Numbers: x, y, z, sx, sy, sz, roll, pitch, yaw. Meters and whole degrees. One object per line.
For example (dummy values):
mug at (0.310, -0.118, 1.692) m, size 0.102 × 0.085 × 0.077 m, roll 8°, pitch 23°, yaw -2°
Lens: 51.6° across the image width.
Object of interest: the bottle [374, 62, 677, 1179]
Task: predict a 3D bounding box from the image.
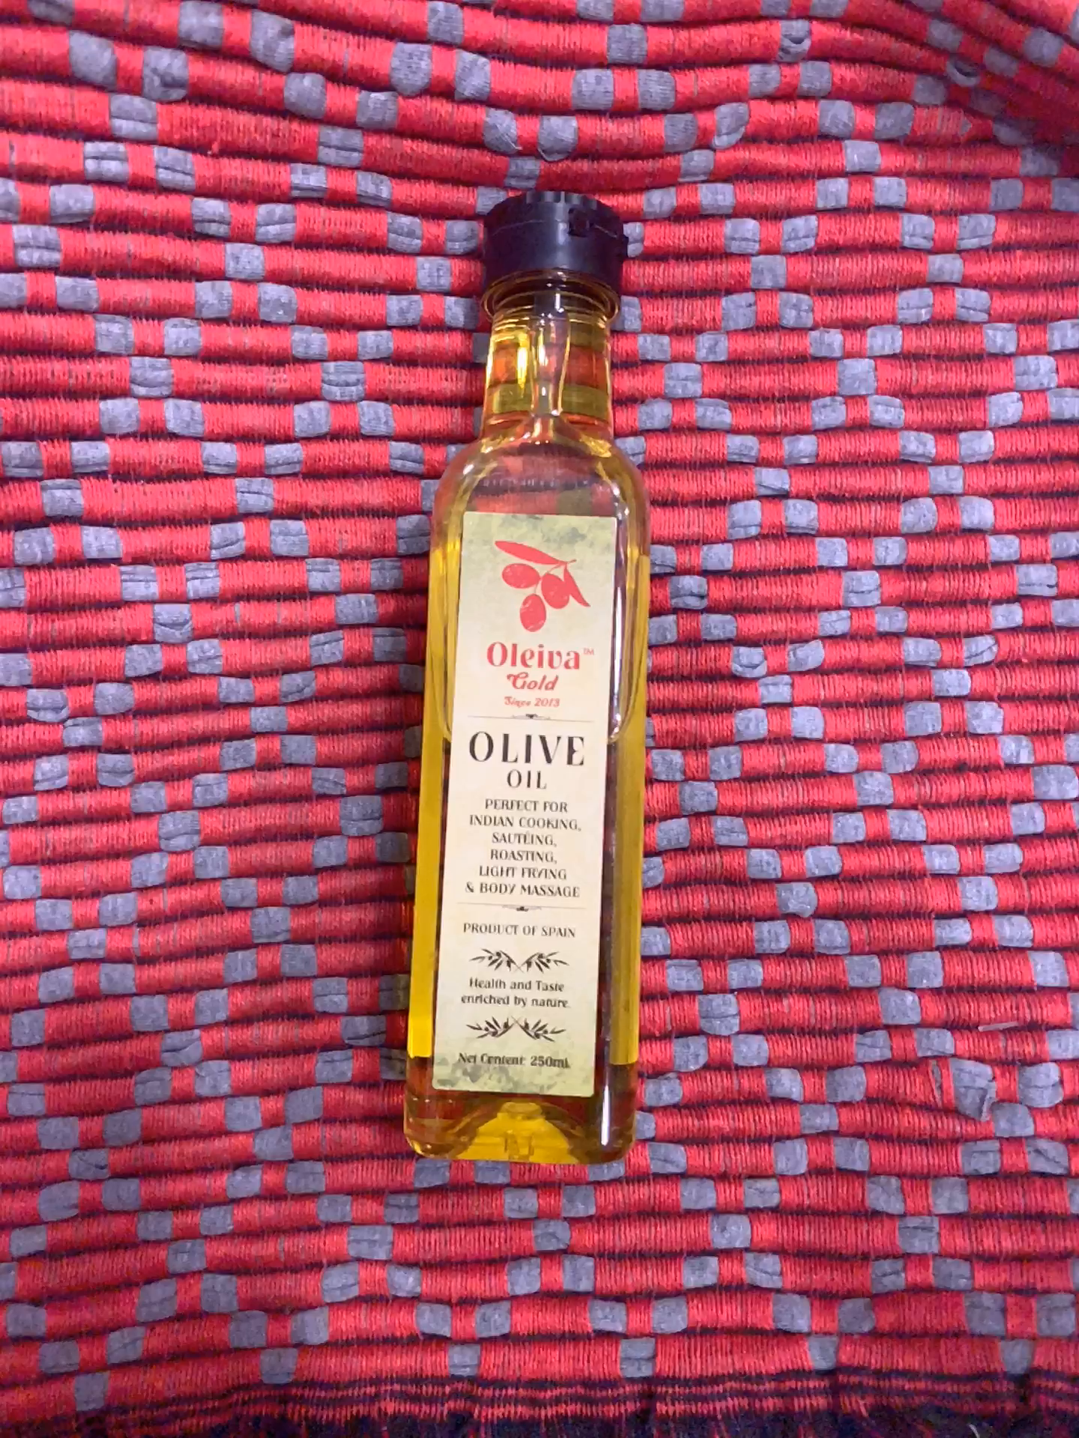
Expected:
bottle at (-0.001, -0.022, 0.232) m, size 0.050 × 0.050 × 0.210 m, roll 1°, pitch 84°, yaw 2°
